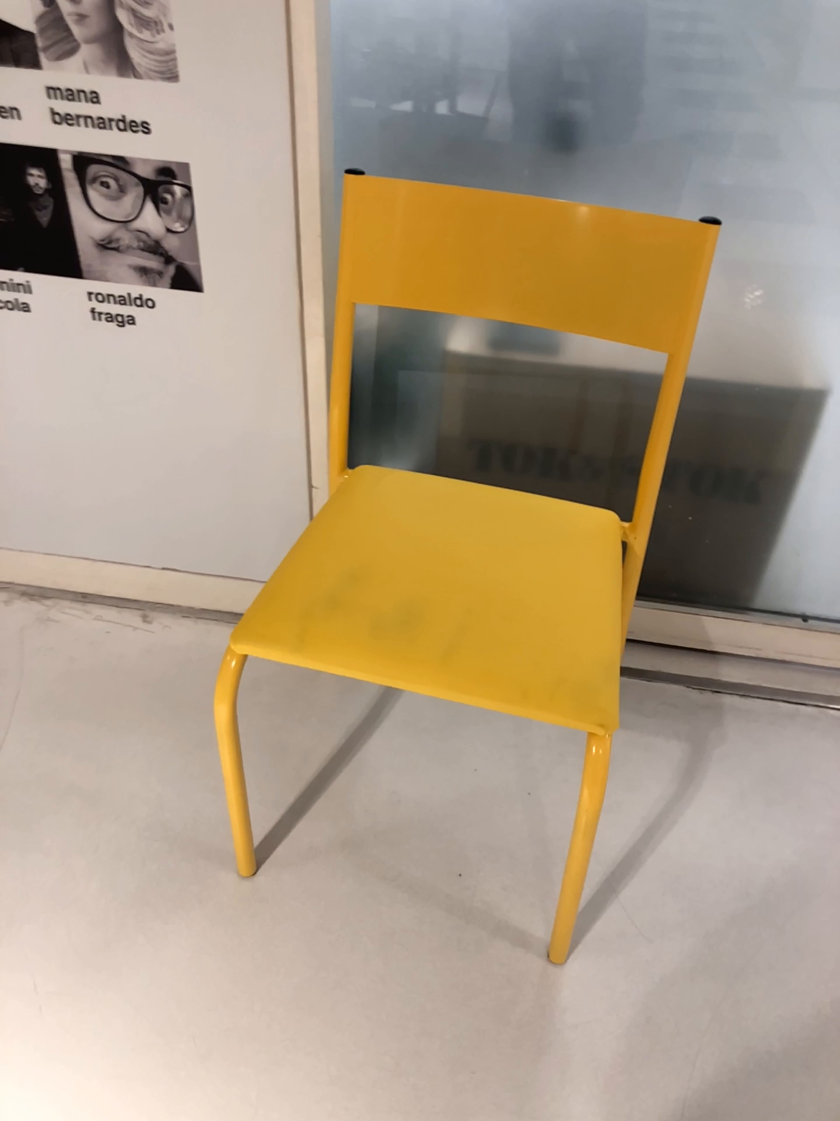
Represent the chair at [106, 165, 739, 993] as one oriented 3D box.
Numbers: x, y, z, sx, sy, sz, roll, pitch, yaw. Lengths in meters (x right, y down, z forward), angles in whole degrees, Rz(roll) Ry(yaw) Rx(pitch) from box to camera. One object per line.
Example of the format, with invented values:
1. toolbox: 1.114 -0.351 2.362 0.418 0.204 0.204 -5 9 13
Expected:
1. chair: 0.041 0.027 1.136 0.490 0.784 0.524 11 40 10
